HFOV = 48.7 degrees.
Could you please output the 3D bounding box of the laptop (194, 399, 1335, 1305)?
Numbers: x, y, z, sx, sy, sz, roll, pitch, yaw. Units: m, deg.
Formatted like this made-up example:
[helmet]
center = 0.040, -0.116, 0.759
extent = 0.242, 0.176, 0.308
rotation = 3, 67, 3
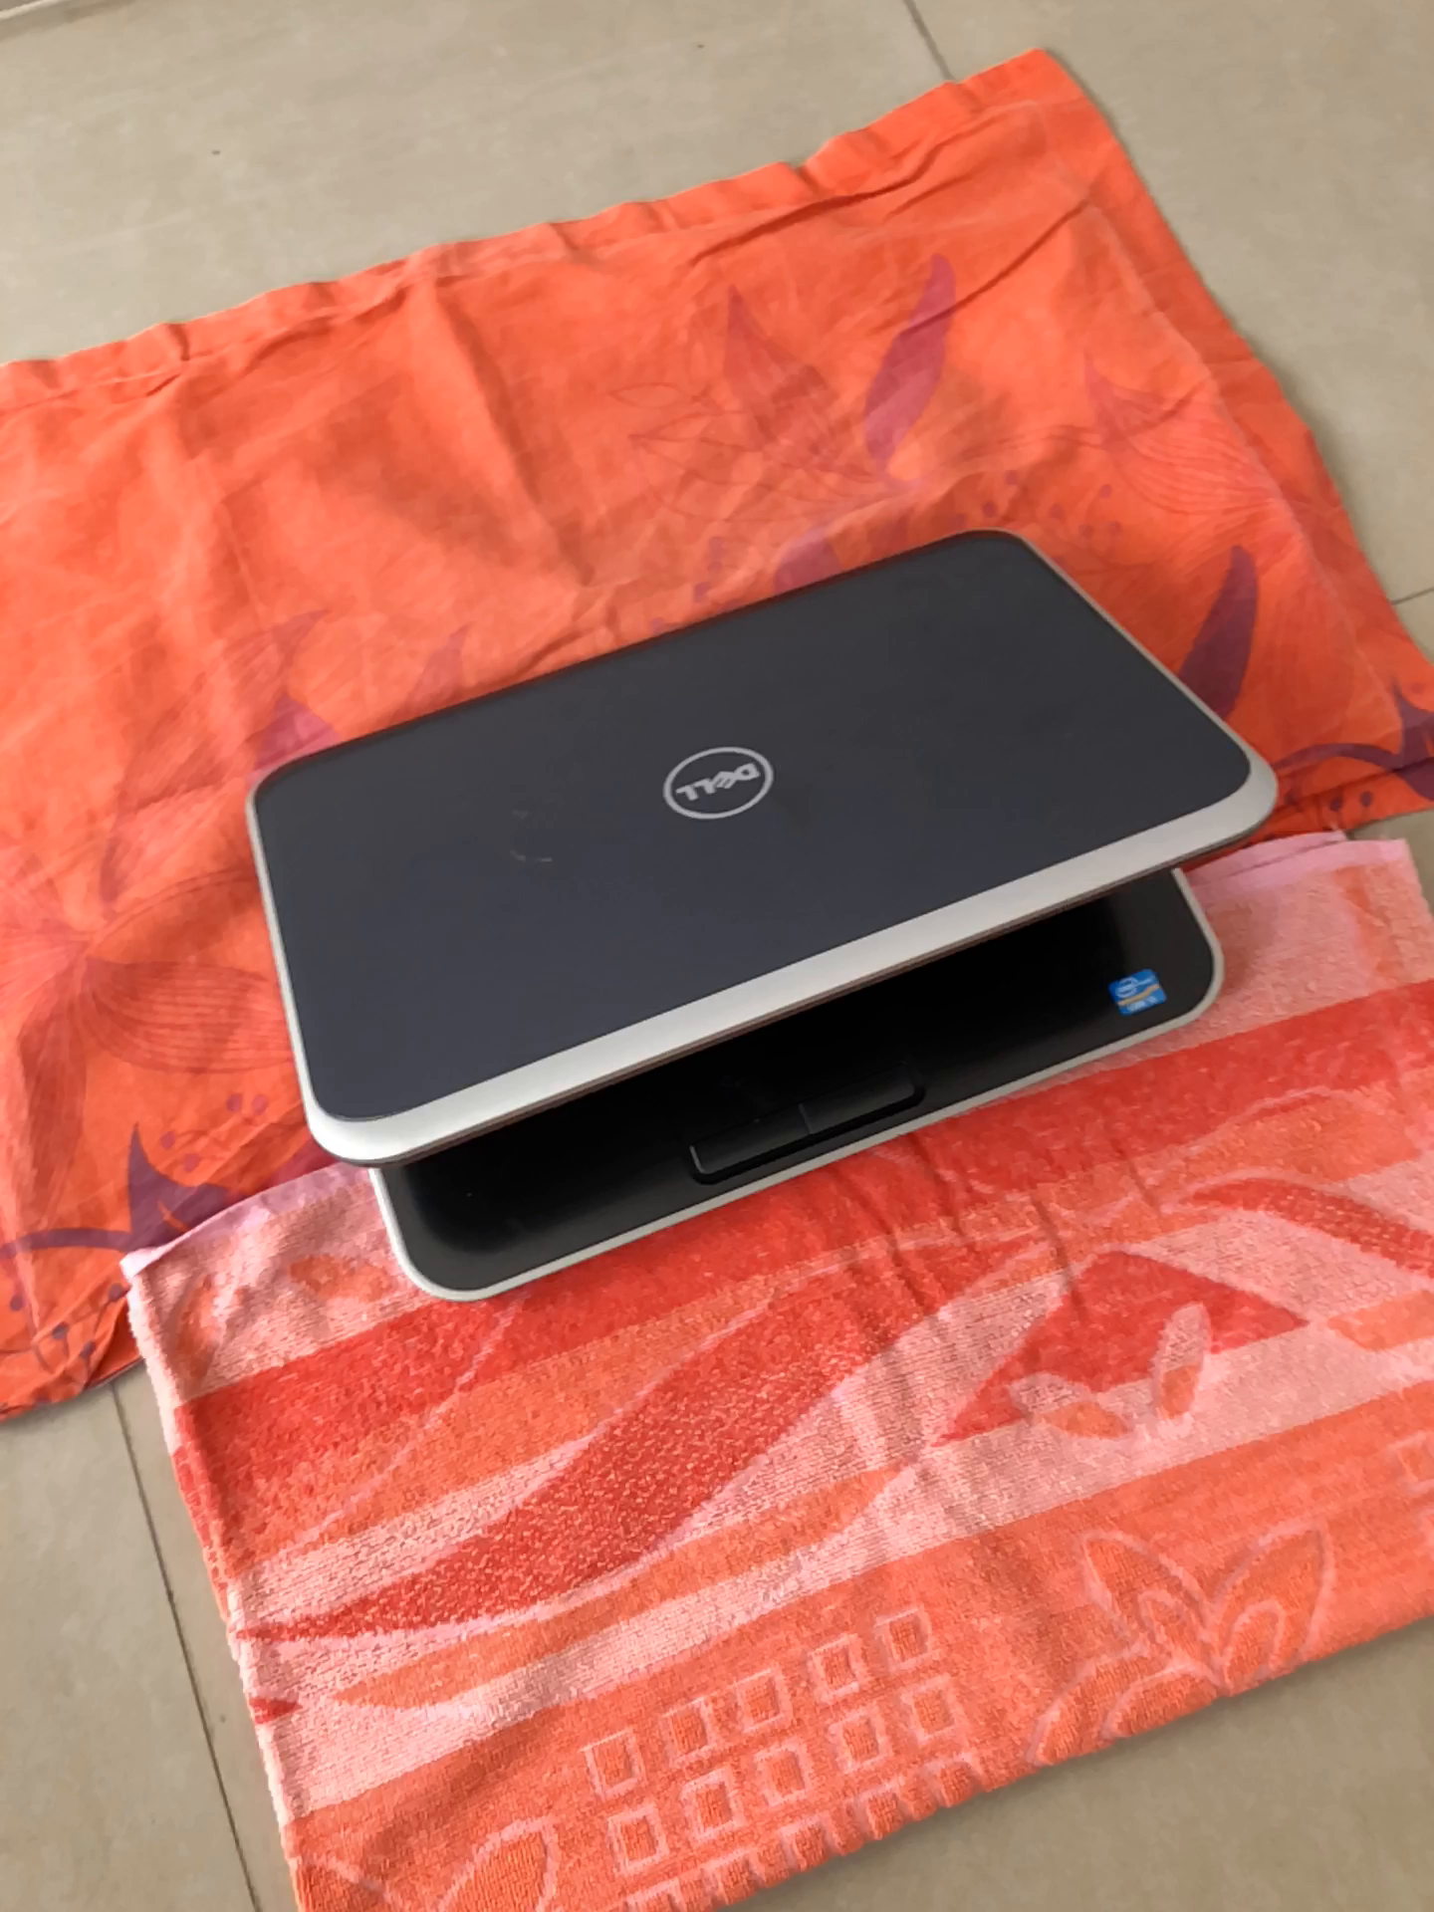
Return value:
[laptop]
center = 0.011, -0.042, 0.631
extent = 0.345, 0.129, 0.241
rotation = -19, 72, -8
